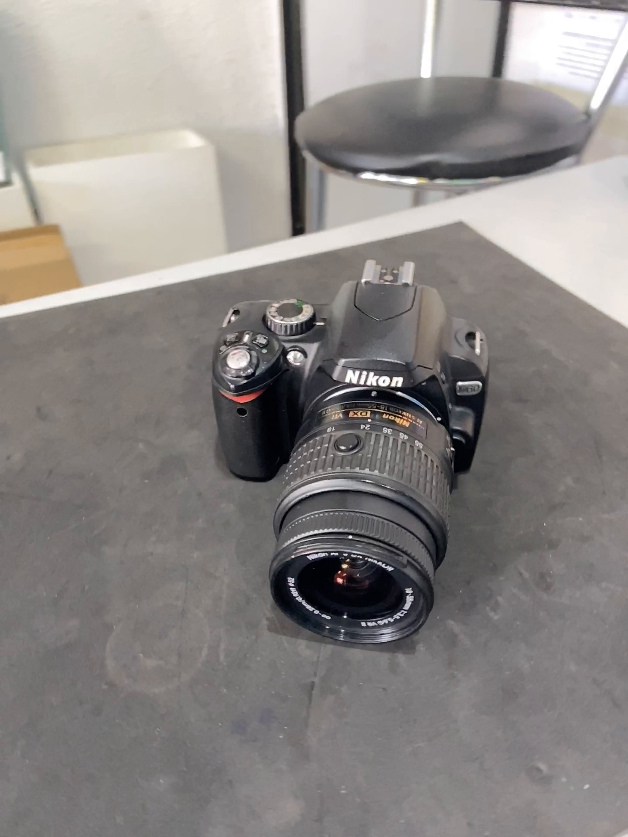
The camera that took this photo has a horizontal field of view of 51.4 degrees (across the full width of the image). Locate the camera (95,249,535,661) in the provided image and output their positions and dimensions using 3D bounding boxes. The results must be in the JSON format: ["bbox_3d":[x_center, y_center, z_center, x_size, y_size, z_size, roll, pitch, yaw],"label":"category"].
[{"bbox_3d":[0.010,0.005,0.269,0.129,0.088,0.141,3,42,8],"label":"camera"}]
